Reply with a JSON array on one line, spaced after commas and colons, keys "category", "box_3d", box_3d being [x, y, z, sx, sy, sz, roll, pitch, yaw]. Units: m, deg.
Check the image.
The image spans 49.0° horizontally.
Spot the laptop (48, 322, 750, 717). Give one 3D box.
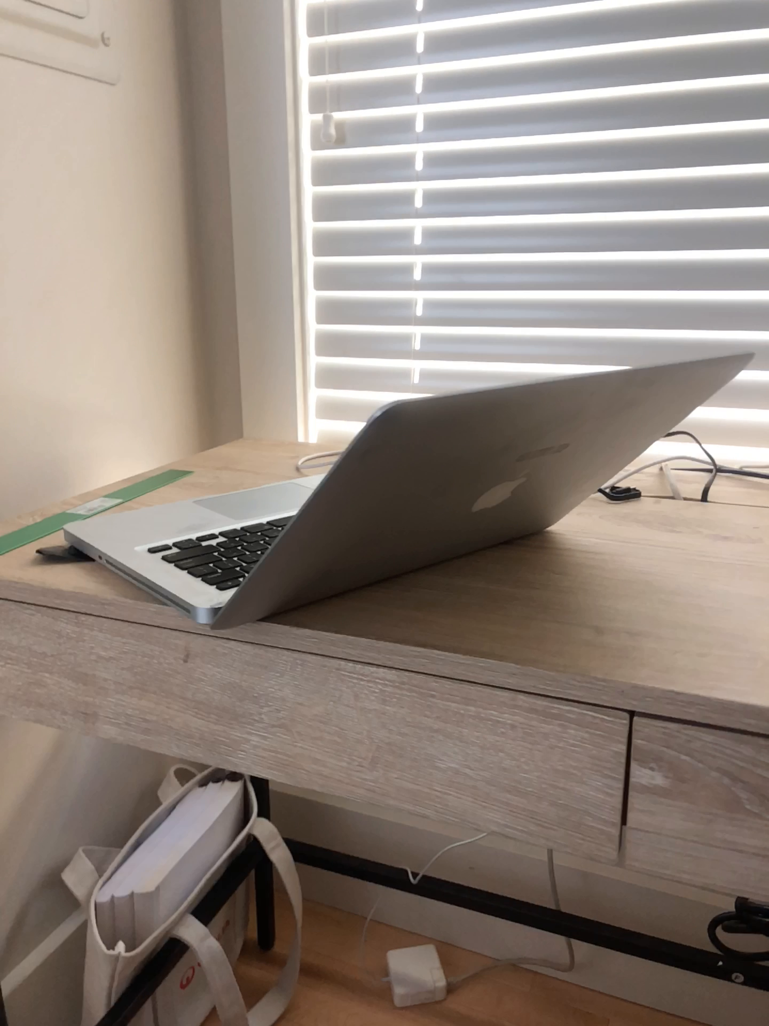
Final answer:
[{"category": "laptop", "box_3d": [0.002, -0.044, 0.586, 0.321, 0.133, 0.346, -14, 23, -40]}]
